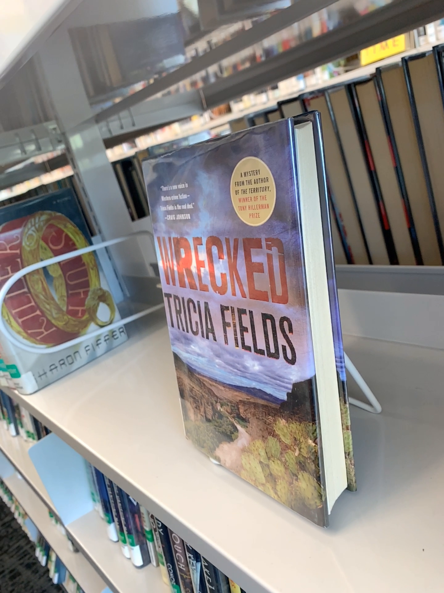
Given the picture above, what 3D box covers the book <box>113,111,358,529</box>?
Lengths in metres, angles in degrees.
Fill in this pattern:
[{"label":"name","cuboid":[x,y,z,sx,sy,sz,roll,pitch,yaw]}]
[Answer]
[{"label":"book","cuboid":[0.001,0.009,0.287,0.040,0.203,0.150,-17,14,-34]}]
